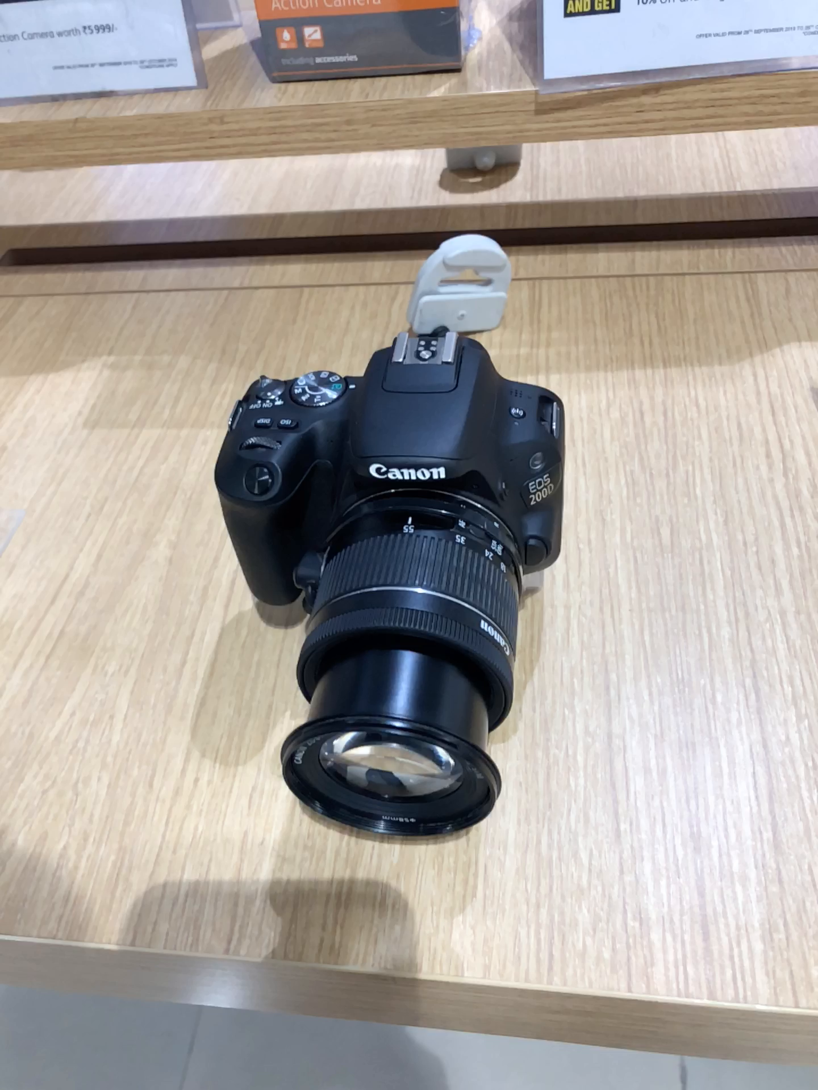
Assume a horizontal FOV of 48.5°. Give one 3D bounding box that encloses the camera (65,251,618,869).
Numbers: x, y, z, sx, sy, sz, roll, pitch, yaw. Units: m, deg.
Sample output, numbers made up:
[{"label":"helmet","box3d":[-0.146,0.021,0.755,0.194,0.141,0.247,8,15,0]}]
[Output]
[{"label":"camera","box3d":[-0.003,-0.003,0.282,0.120,0.099,0.161,2,47,9]}]
